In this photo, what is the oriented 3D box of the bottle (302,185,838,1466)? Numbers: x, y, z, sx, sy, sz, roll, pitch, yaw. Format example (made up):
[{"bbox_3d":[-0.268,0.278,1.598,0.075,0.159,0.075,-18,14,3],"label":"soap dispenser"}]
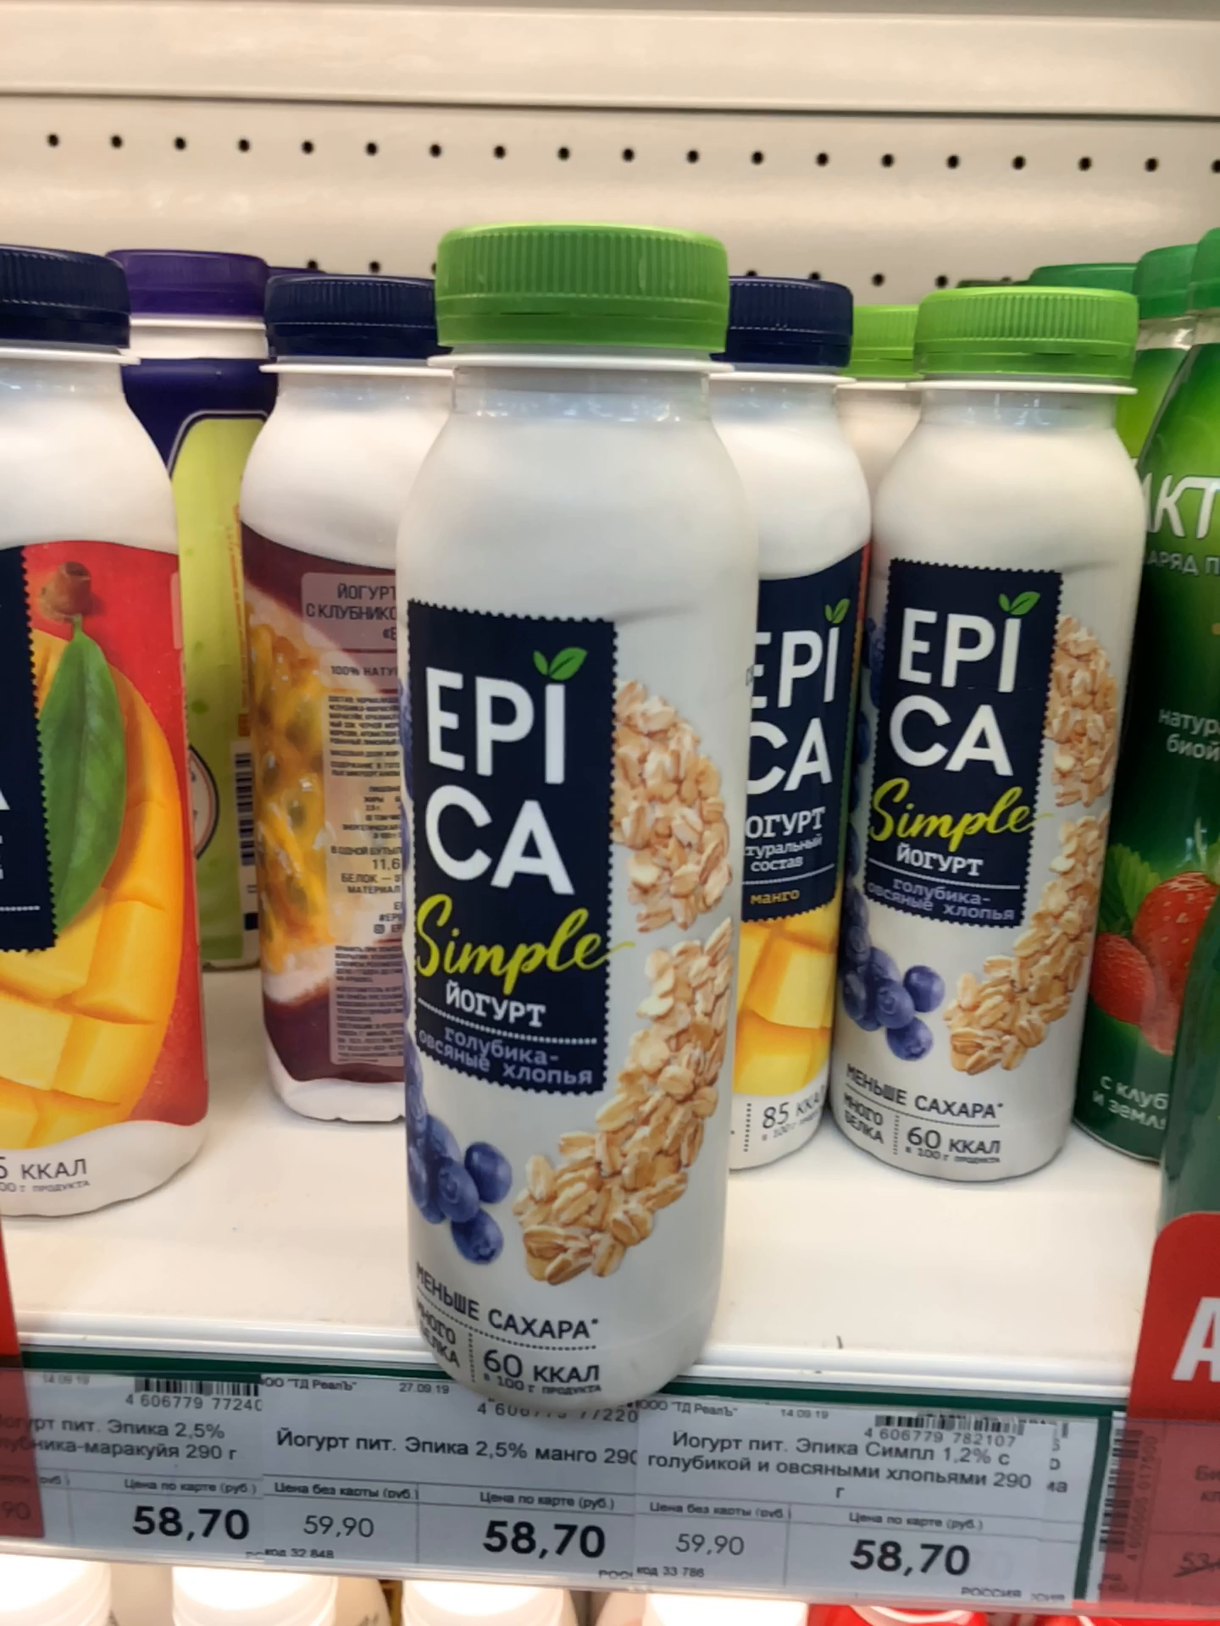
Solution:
[{"bbox_3d":[-0.005,0.003,0.204,0.053,0.170,0.052,1,18,0],"label":"bottle"}]

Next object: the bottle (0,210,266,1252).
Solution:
[{"bbox_3d":[-0.104,-0.014,0.247,0.053,0.170,0.049,1,18,0],"label":"bottle"}]

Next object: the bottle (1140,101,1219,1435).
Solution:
[{"bbox_3d":[0.125,-0.004,0.211,0.053,0.182,0.052,1,18,0],"label":"bottle"}]
